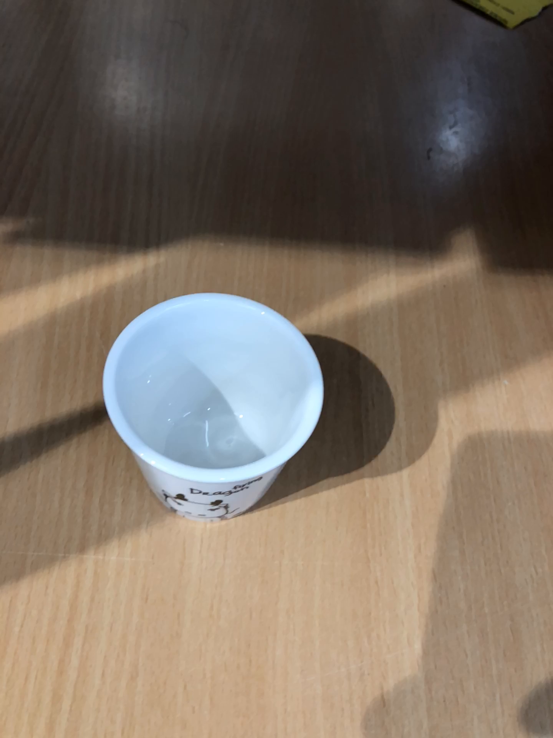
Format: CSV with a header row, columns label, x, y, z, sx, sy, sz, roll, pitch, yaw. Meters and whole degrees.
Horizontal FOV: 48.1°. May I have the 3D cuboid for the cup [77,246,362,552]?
label,x,y,z,sx,sy,sz,roll,pitch,yaw
cup,-0.016,0.012,0.222,0.080,0.060,0.080,4,56,-6
